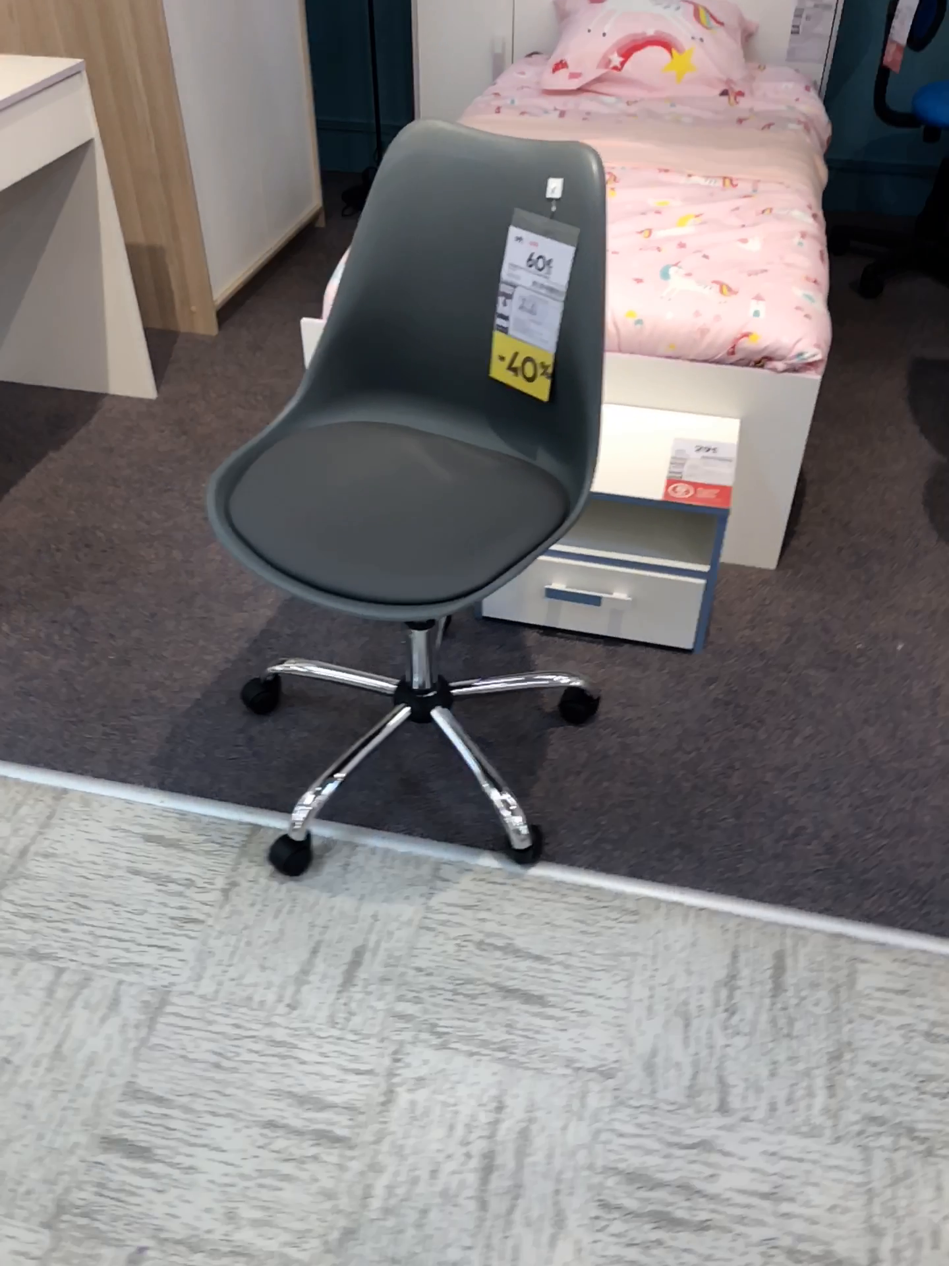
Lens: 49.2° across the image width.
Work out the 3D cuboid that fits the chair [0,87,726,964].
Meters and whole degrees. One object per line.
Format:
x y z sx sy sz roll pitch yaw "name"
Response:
-0.109 -0.162 1.381 0.600 0.835 0.634 17 43 19 "chair"
